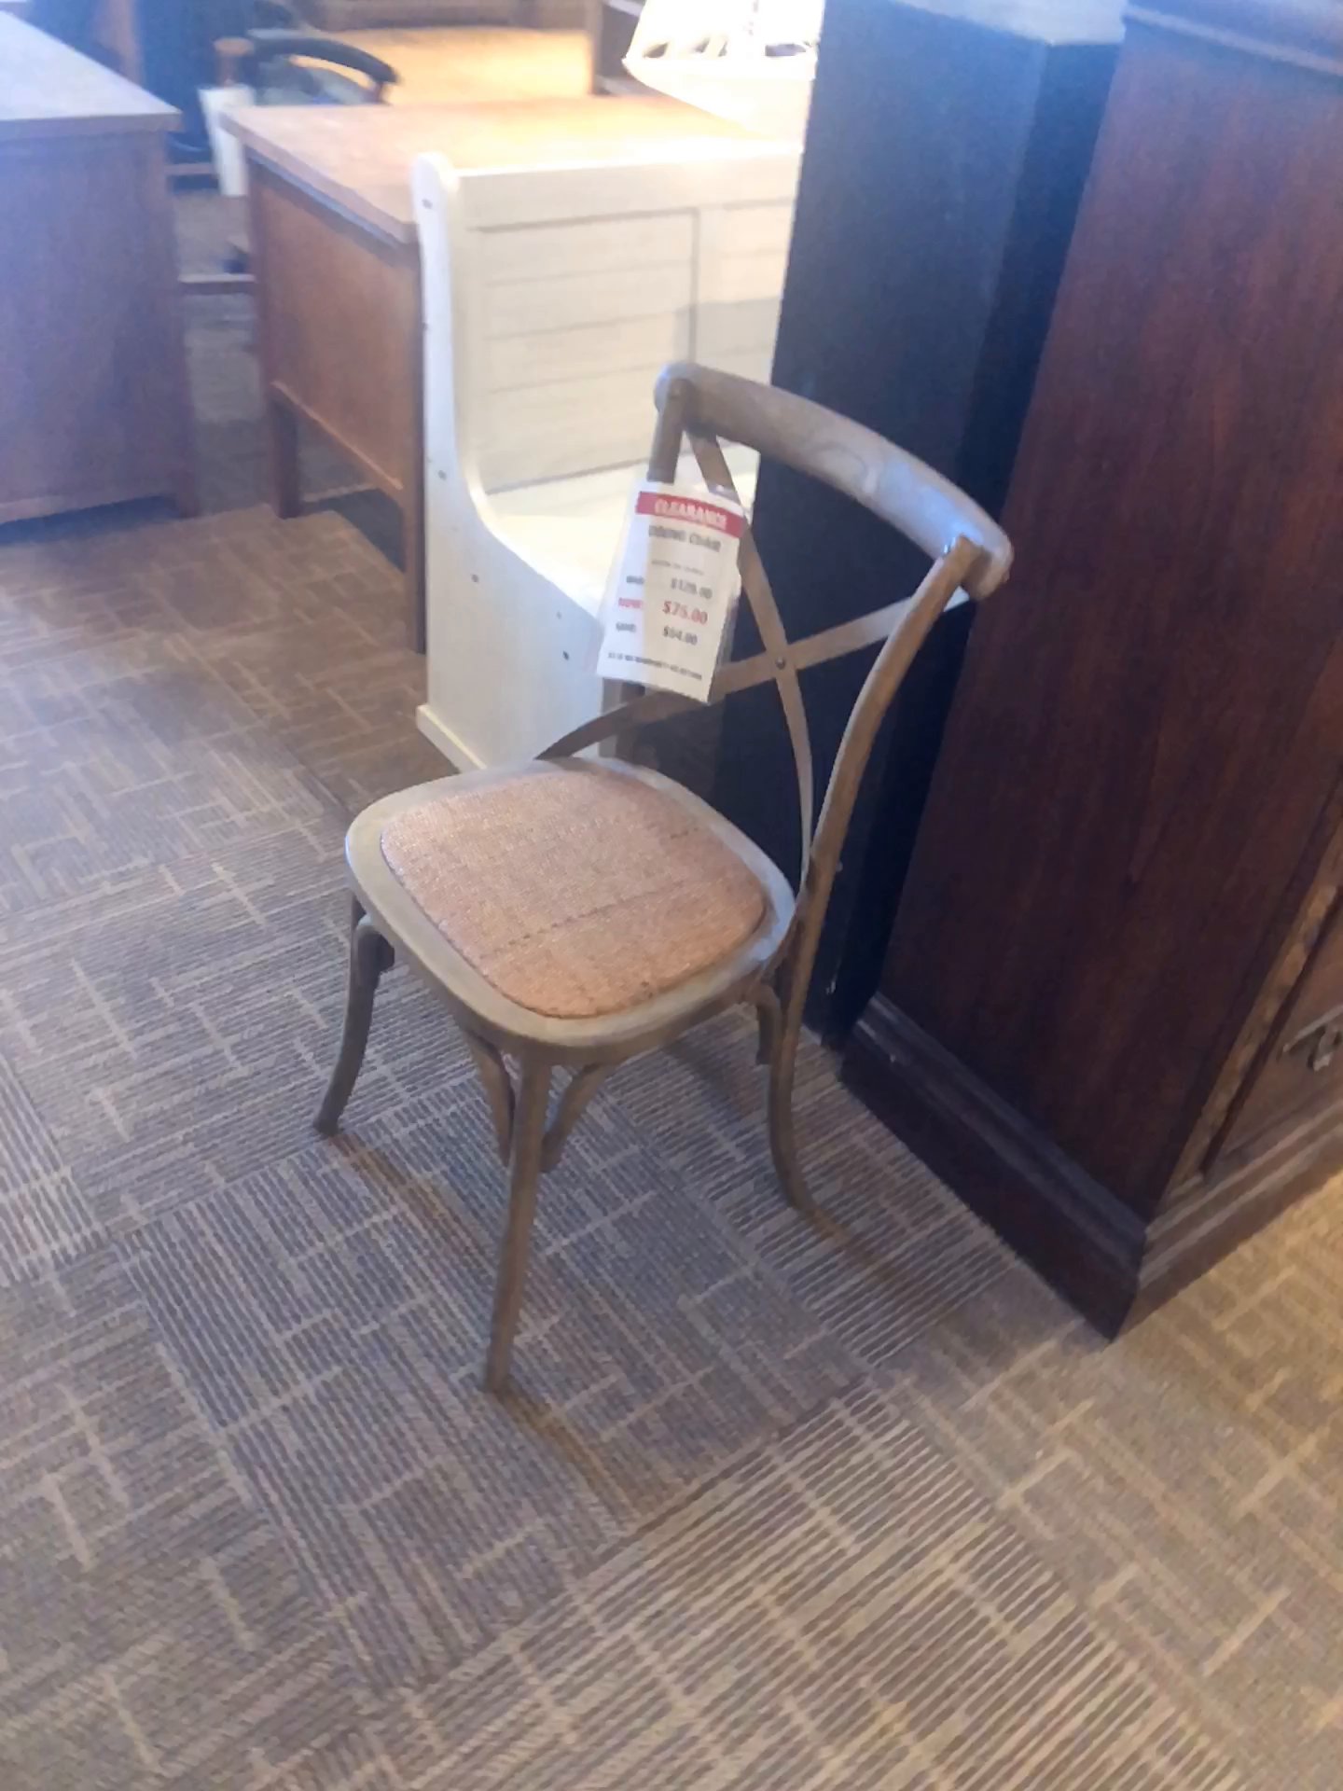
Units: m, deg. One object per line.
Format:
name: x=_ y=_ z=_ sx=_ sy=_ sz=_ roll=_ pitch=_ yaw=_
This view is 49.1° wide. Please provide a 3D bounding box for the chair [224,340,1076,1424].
chair: x=-0.066 y=-0.018 z=1.490 sx=0.530 sy=0.860 sz=0.491 roll=-19 pitch=46 yaw=-29
